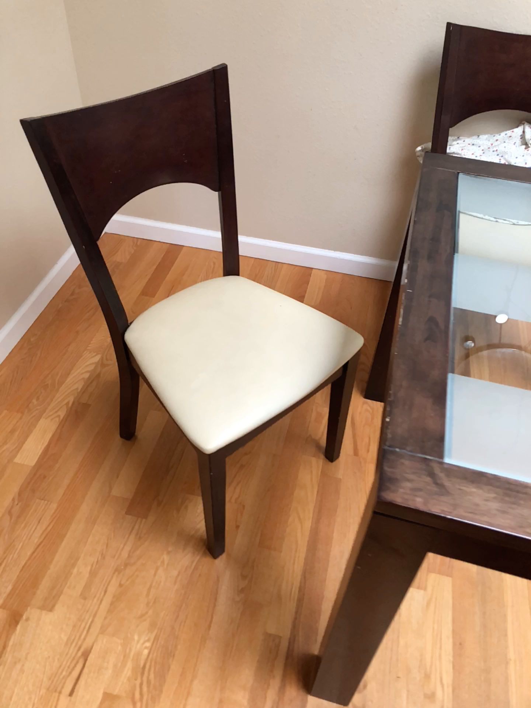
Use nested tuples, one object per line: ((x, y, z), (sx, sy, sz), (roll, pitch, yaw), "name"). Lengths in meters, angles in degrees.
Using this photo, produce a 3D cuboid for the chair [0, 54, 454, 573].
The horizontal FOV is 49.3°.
((-0.085, -0.090, 1.356), (0.592, 0.895, 0.572), (-33, 55, -32), "chair")
